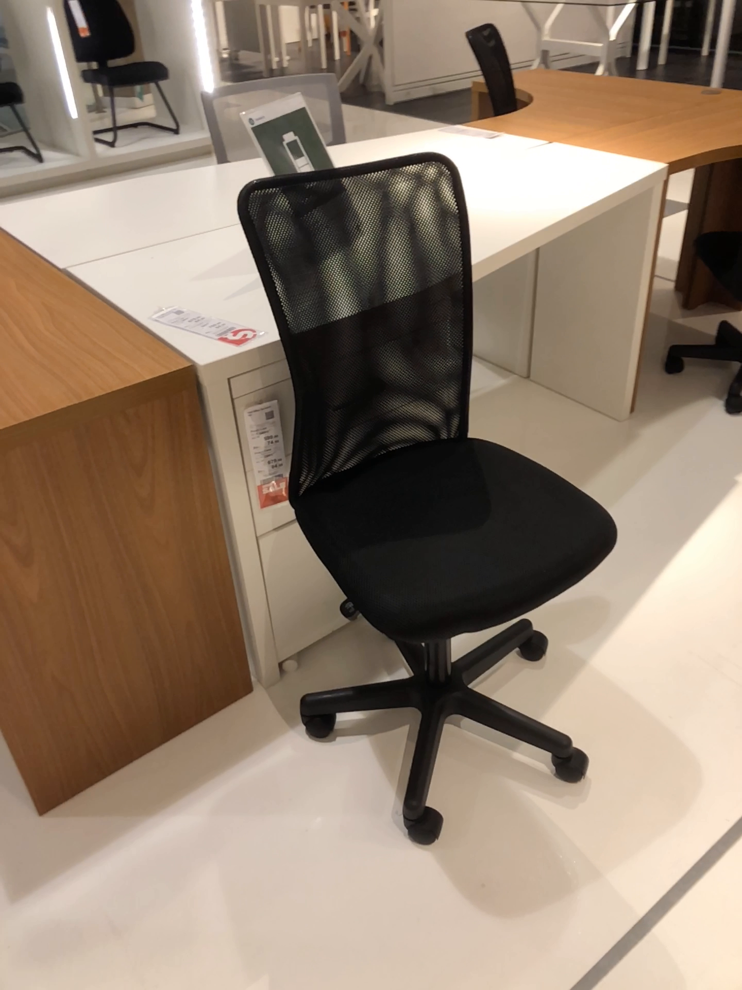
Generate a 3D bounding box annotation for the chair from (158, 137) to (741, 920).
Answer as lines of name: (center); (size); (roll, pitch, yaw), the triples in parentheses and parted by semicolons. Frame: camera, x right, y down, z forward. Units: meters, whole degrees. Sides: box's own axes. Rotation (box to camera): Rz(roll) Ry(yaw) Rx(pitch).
chair: (0.114, 0.025, 1.262); (0.561, 0.923, 0.573); (-19, 37, -22)
